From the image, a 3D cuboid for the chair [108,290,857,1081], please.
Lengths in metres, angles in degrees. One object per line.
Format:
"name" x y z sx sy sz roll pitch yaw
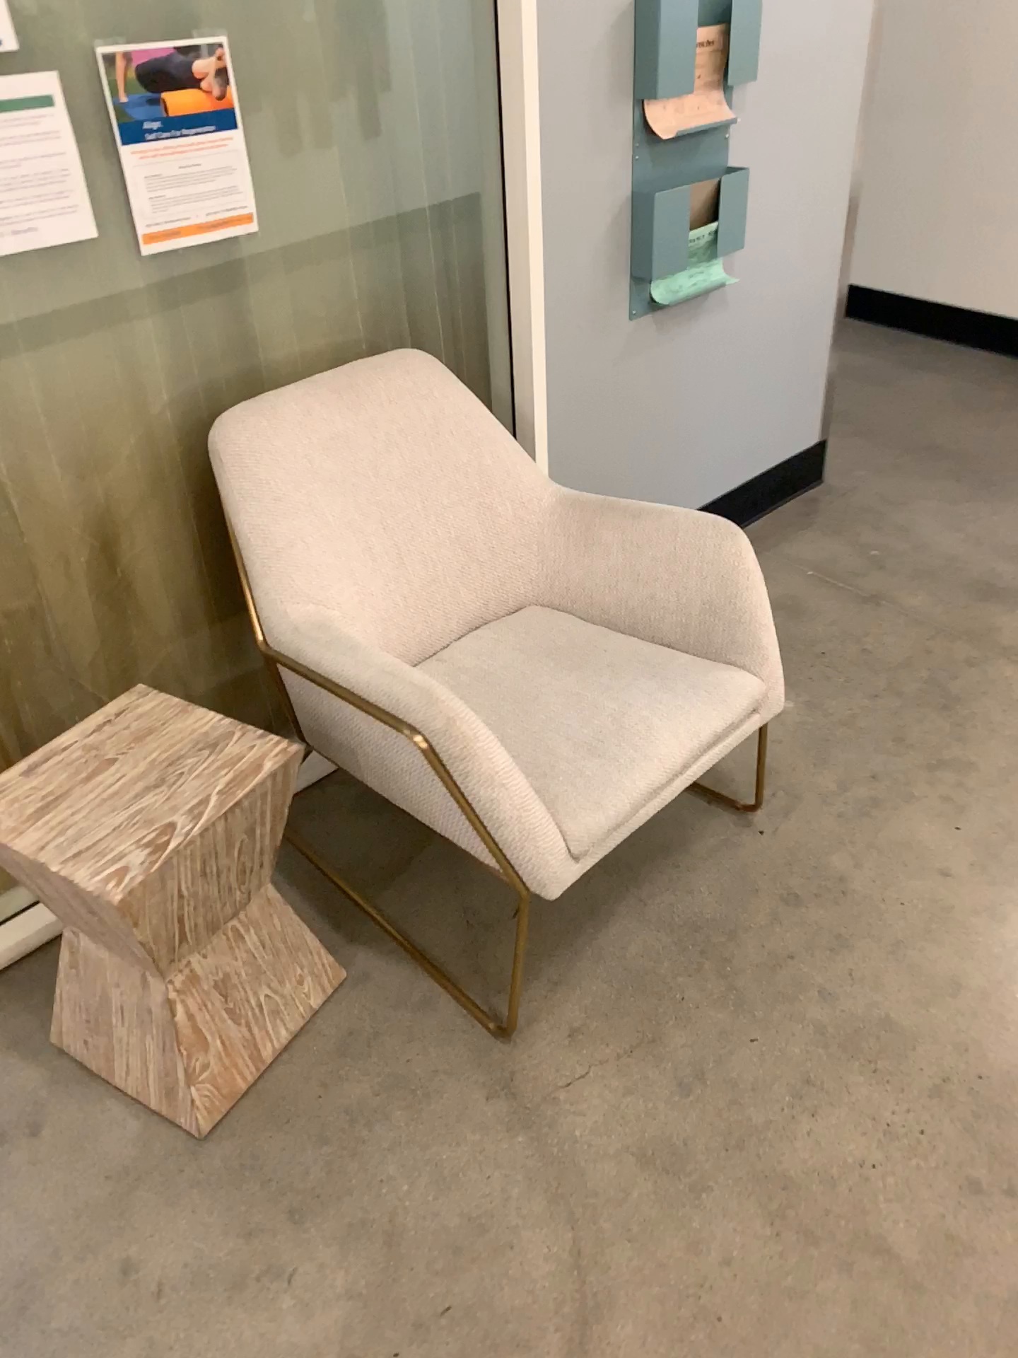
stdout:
"chair" -0.016 -0.069 1.758 0.773 0.864 0.782 25 43 35
